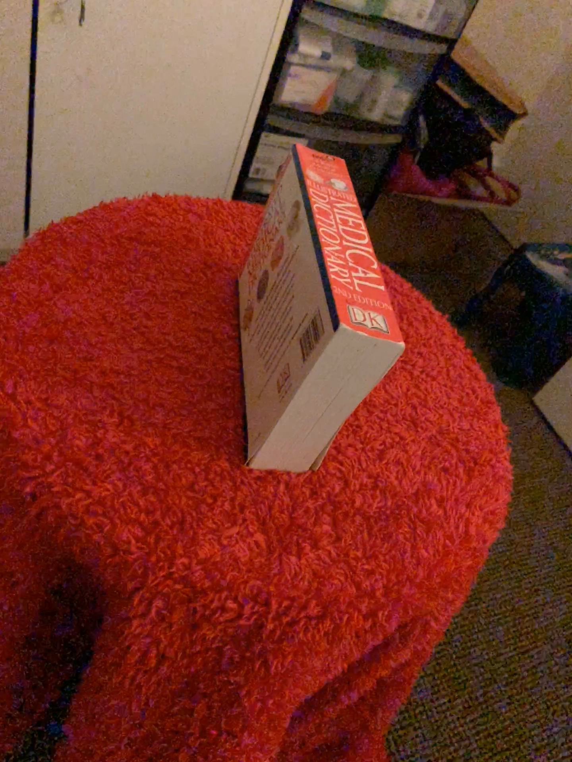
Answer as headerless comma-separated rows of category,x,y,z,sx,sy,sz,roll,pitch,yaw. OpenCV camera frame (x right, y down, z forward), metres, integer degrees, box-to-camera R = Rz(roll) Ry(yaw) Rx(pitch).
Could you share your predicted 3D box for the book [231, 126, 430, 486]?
book,0.013,-0.060,0.408,0.050,0.129,0.222,13,43,-22
